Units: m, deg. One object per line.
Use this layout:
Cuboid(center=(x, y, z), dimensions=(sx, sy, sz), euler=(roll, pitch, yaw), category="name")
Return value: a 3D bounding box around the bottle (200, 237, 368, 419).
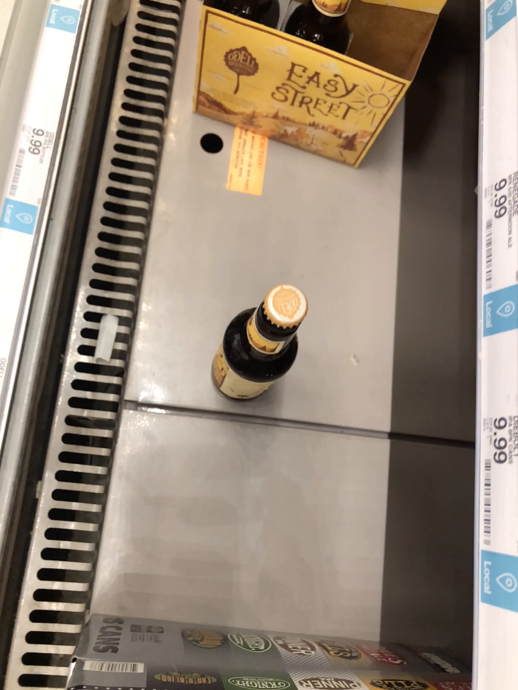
Cuboid(center=(0.005, 0.003, 0.458), dimensions=(0.070, 0.230, 0.066), euler=(2, 77, -9), category="bottle")
